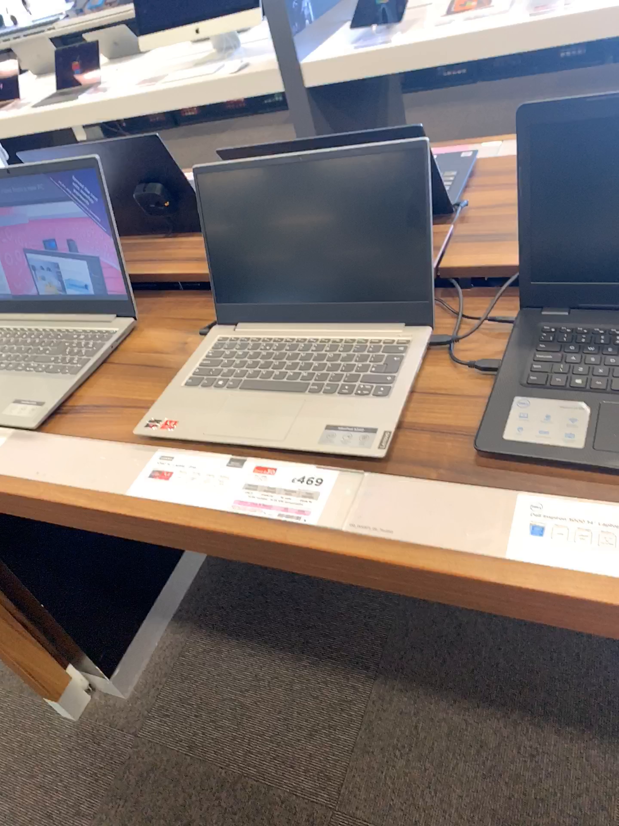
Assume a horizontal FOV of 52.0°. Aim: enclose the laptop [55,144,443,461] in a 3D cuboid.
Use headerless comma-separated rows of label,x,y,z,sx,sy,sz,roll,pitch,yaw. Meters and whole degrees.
laptop,-0.043,-0.137,0.737,0.316,0.199,0.296,4,44,26
